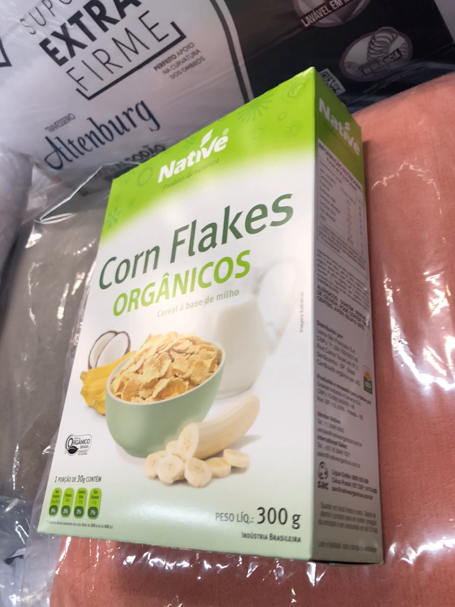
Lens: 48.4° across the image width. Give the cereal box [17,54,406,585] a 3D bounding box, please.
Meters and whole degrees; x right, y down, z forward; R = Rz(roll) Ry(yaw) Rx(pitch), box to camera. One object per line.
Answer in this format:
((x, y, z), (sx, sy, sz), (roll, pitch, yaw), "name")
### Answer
((-0.010, 0.009, 0.283), (0.181, 0.060, 0.241), (-14, 58, 35), "cereal box")
